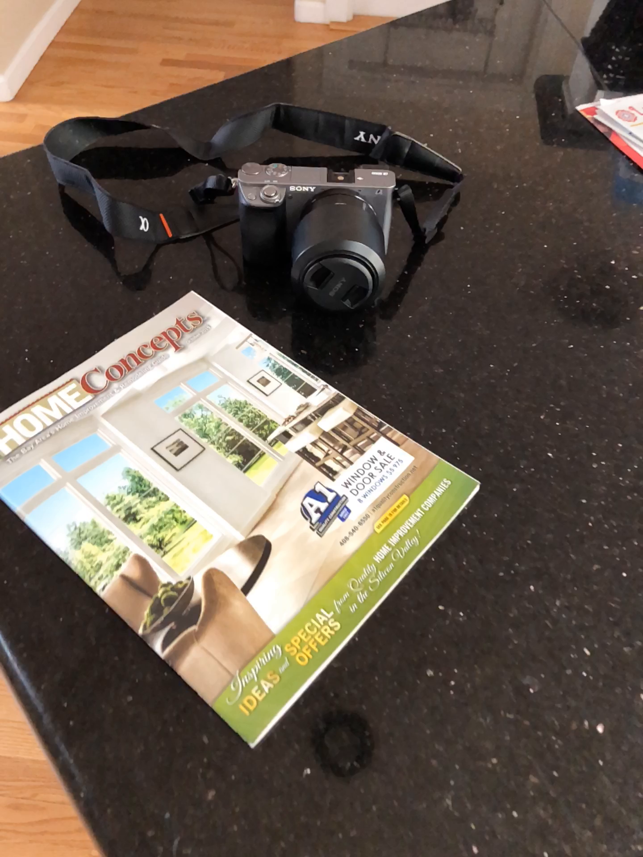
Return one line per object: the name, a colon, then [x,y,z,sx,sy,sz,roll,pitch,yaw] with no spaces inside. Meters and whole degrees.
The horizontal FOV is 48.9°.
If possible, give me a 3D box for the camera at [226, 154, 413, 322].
camera: [-0.002,-0.139,0.510,0.120,0.060,0.110,1,52,-1]
